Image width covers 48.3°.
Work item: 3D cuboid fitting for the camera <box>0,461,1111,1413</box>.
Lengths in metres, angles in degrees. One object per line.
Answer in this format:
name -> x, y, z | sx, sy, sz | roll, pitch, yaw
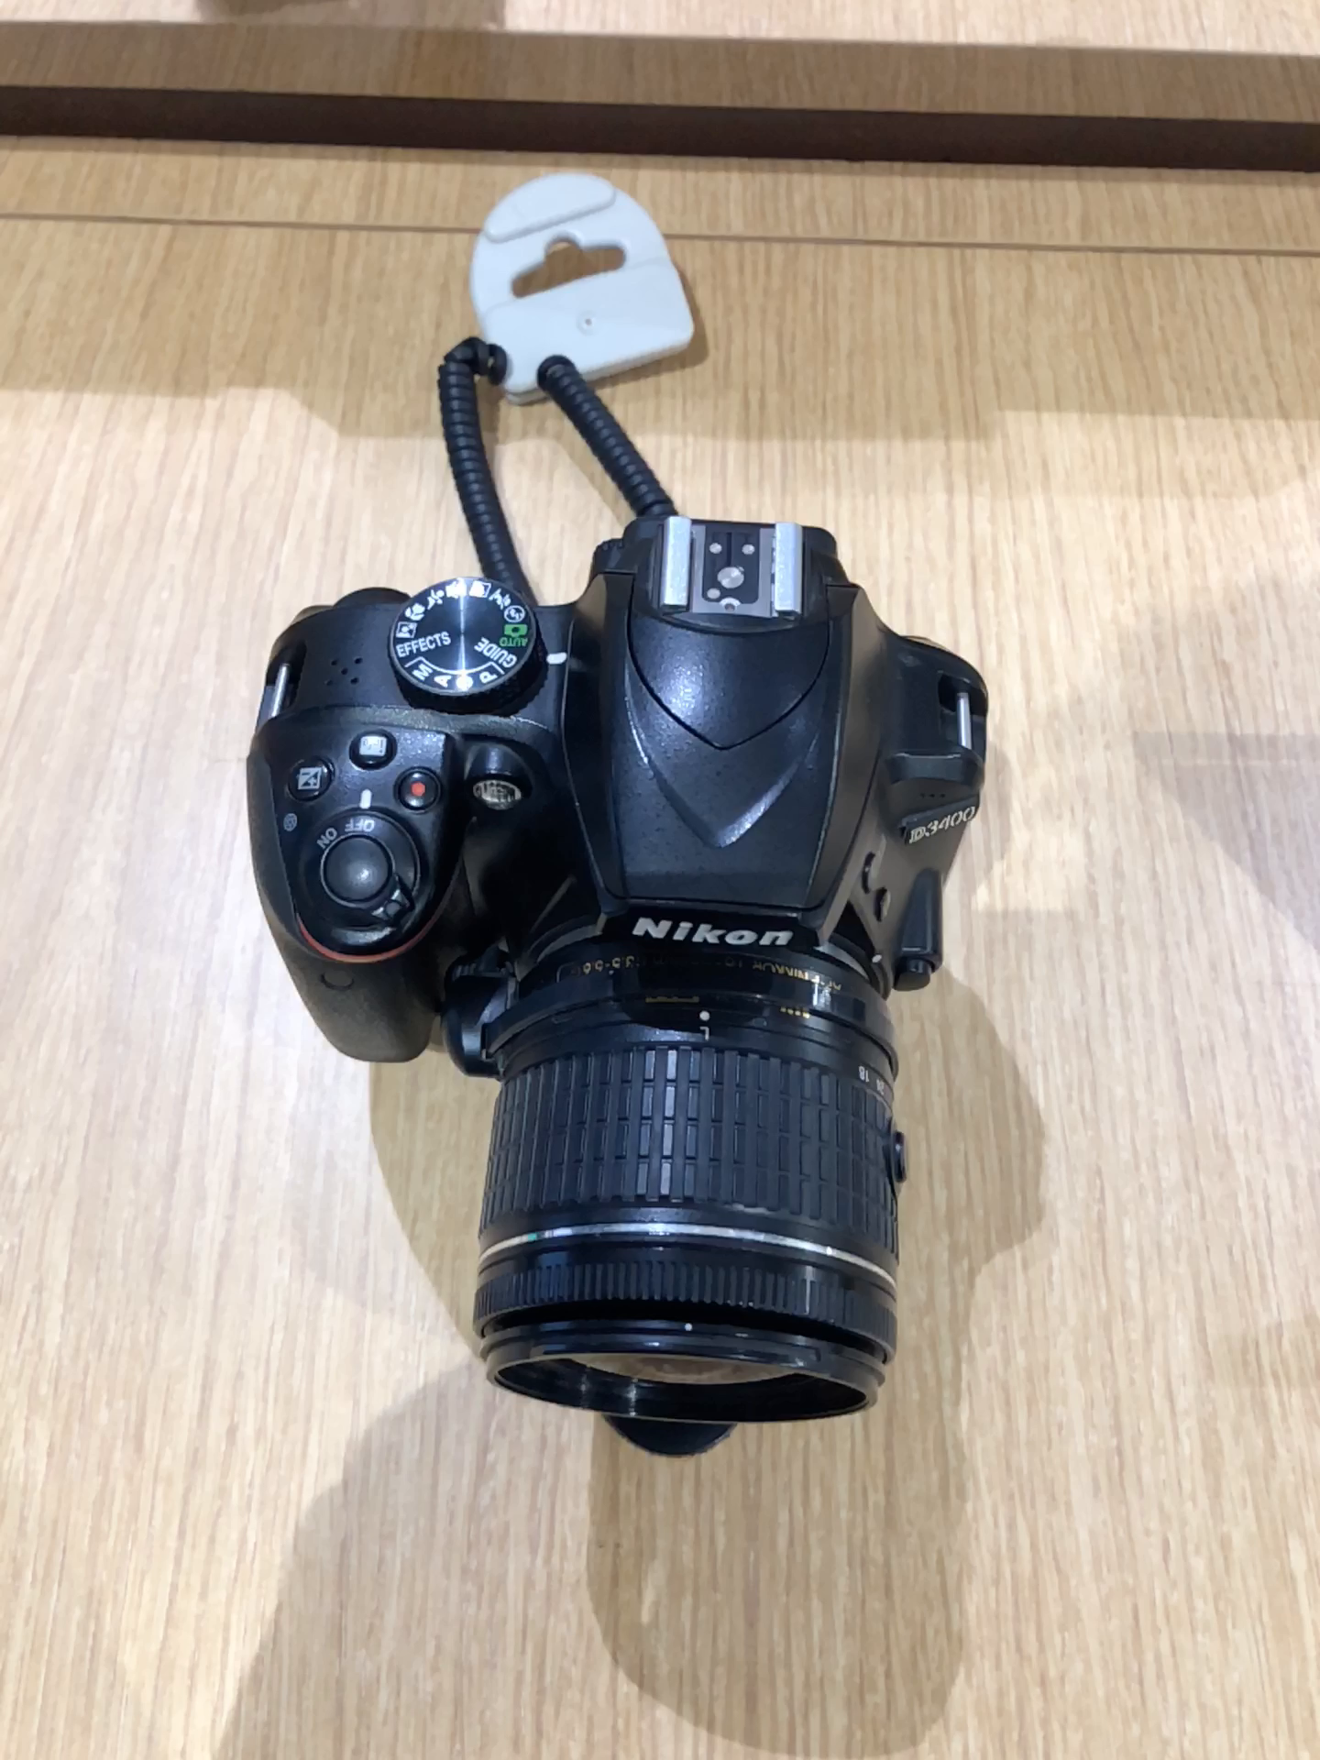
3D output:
camera -> -0.014, 0.012, 0.231 | 0.133, 0.084, 0.120 | 2, 62, 1
